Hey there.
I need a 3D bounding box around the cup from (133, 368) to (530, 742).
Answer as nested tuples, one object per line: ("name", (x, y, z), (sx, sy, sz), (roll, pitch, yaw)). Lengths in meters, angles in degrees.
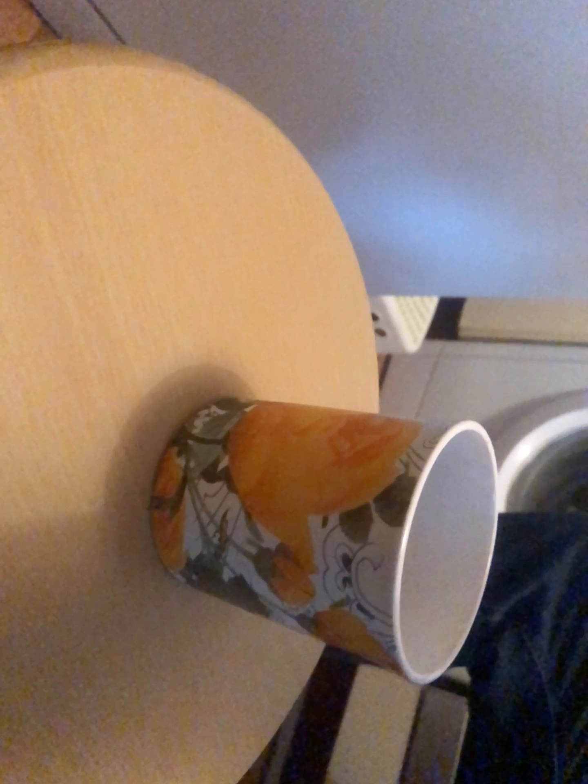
("cup", (0.019, 0.041, 0.241), (0.111, 0.097, 0.082), (-13, 106, -53))
